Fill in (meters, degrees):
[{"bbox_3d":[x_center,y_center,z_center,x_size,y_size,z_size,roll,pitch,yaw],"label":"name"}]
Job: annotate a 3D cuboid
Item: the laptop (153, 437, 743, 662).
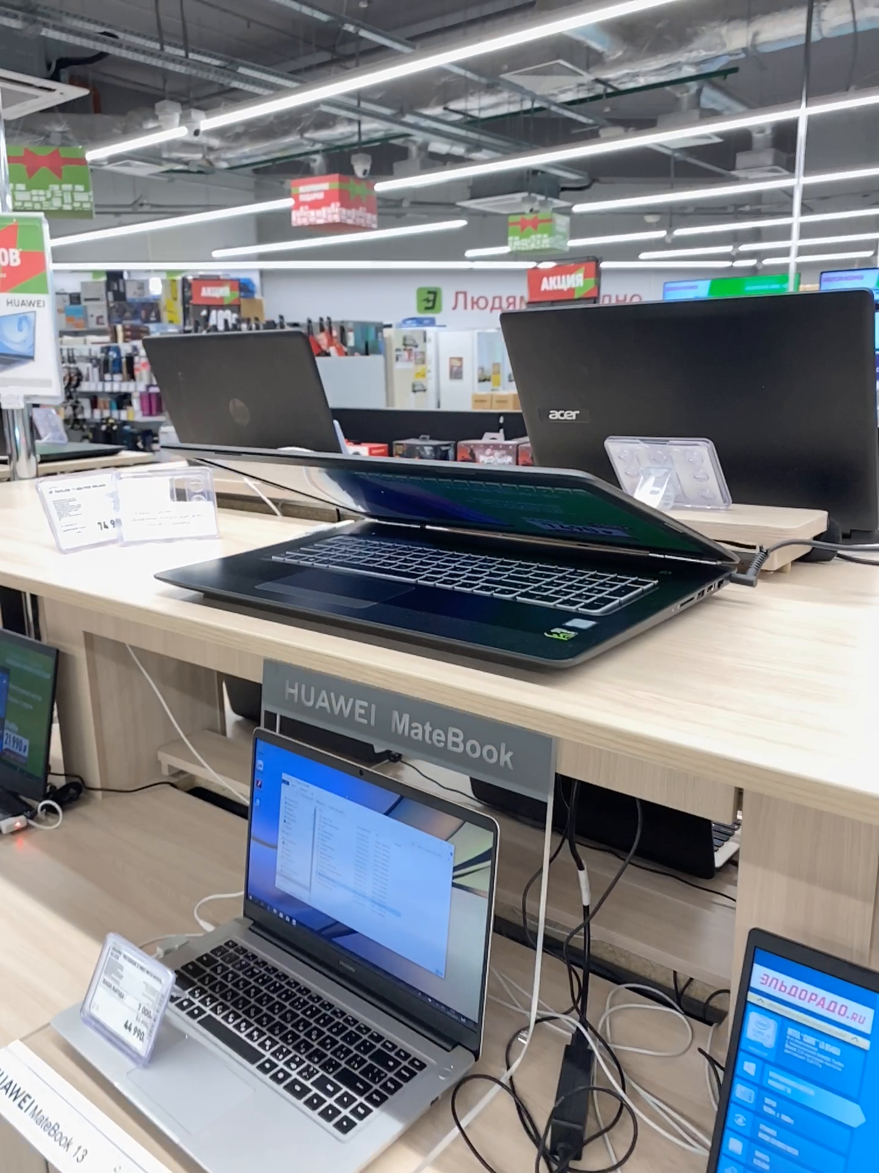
[{"bbox_3d":[-0.002,-0.058,0.751,0.414,0.095,0.268,9,18,38],"label":"laptop"}]
